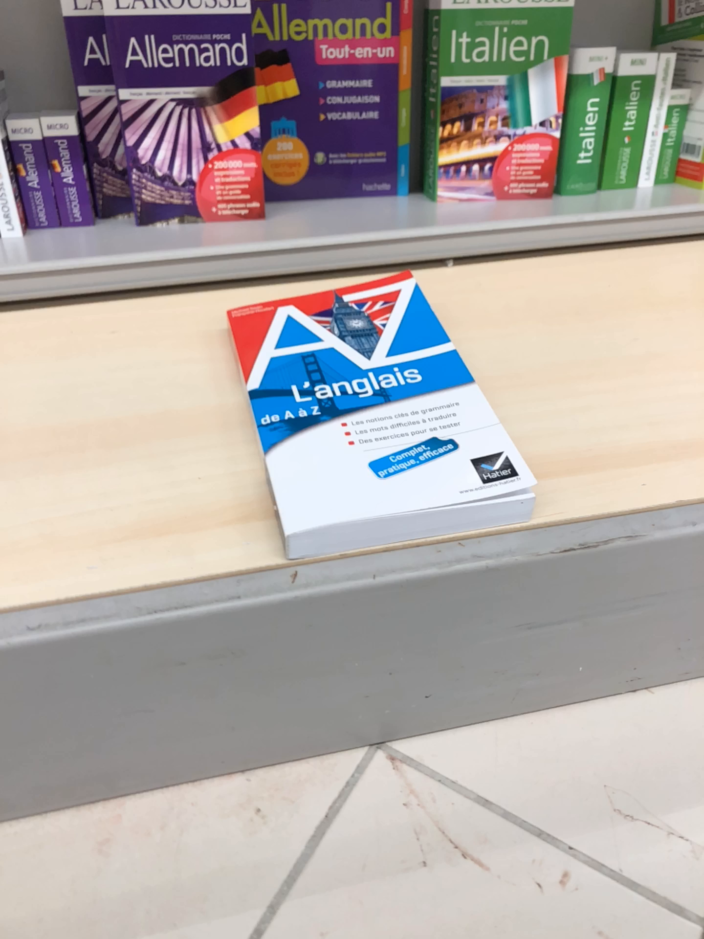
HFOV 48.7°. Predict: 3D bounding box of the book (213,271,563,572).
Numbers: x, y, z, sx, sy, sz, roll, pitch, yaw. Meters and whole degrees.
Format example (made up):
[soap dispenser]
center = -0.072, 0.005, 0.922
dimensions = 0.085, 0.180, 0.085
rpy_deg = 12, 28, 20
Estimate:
[book]
center = 0.004, -0.046, 0.461
dimensions = 0.143, 0.030, 0.235
rpy_deg = -8, 41, -12
